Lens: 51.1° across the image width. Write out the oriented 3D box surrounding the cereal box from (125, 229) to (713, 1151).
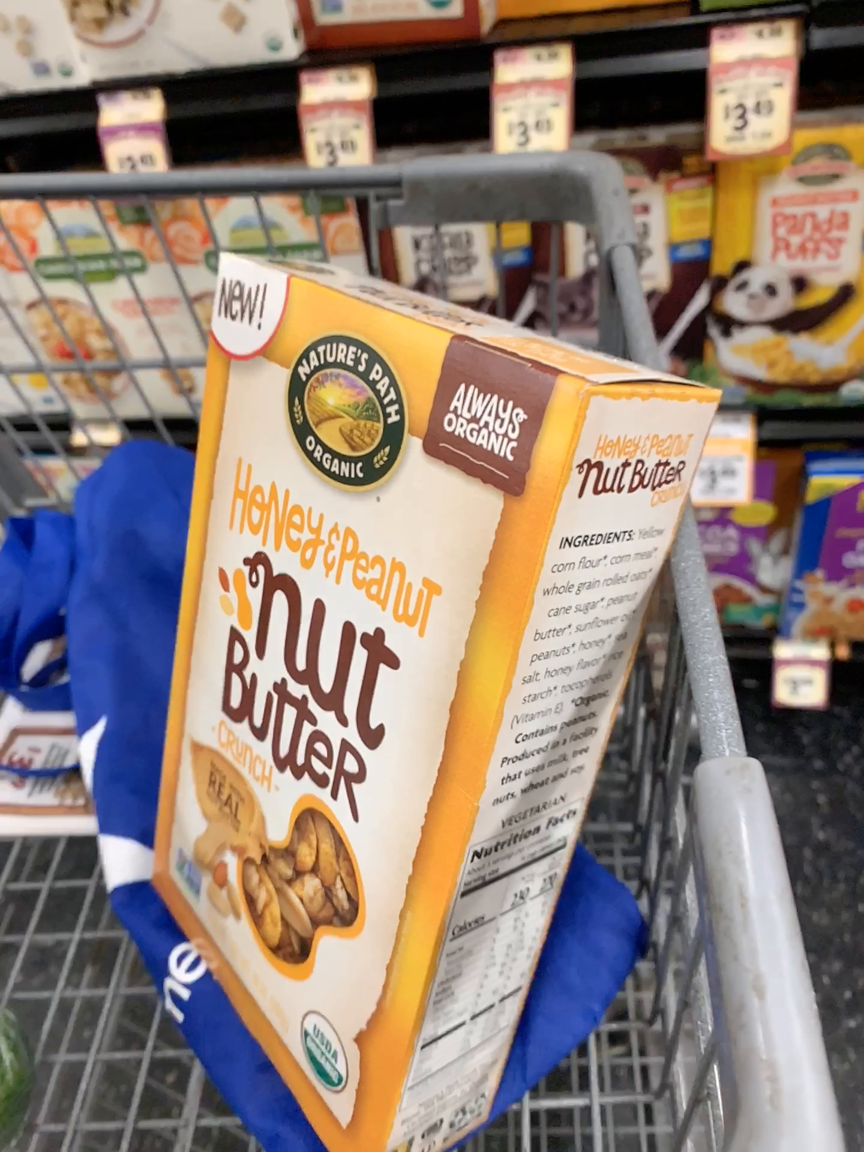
[{"bbox_3d":[-0.030,0.033,0.282,0.050,0.239,0.161,-7,28,-40],"label":"cereal box"}]
